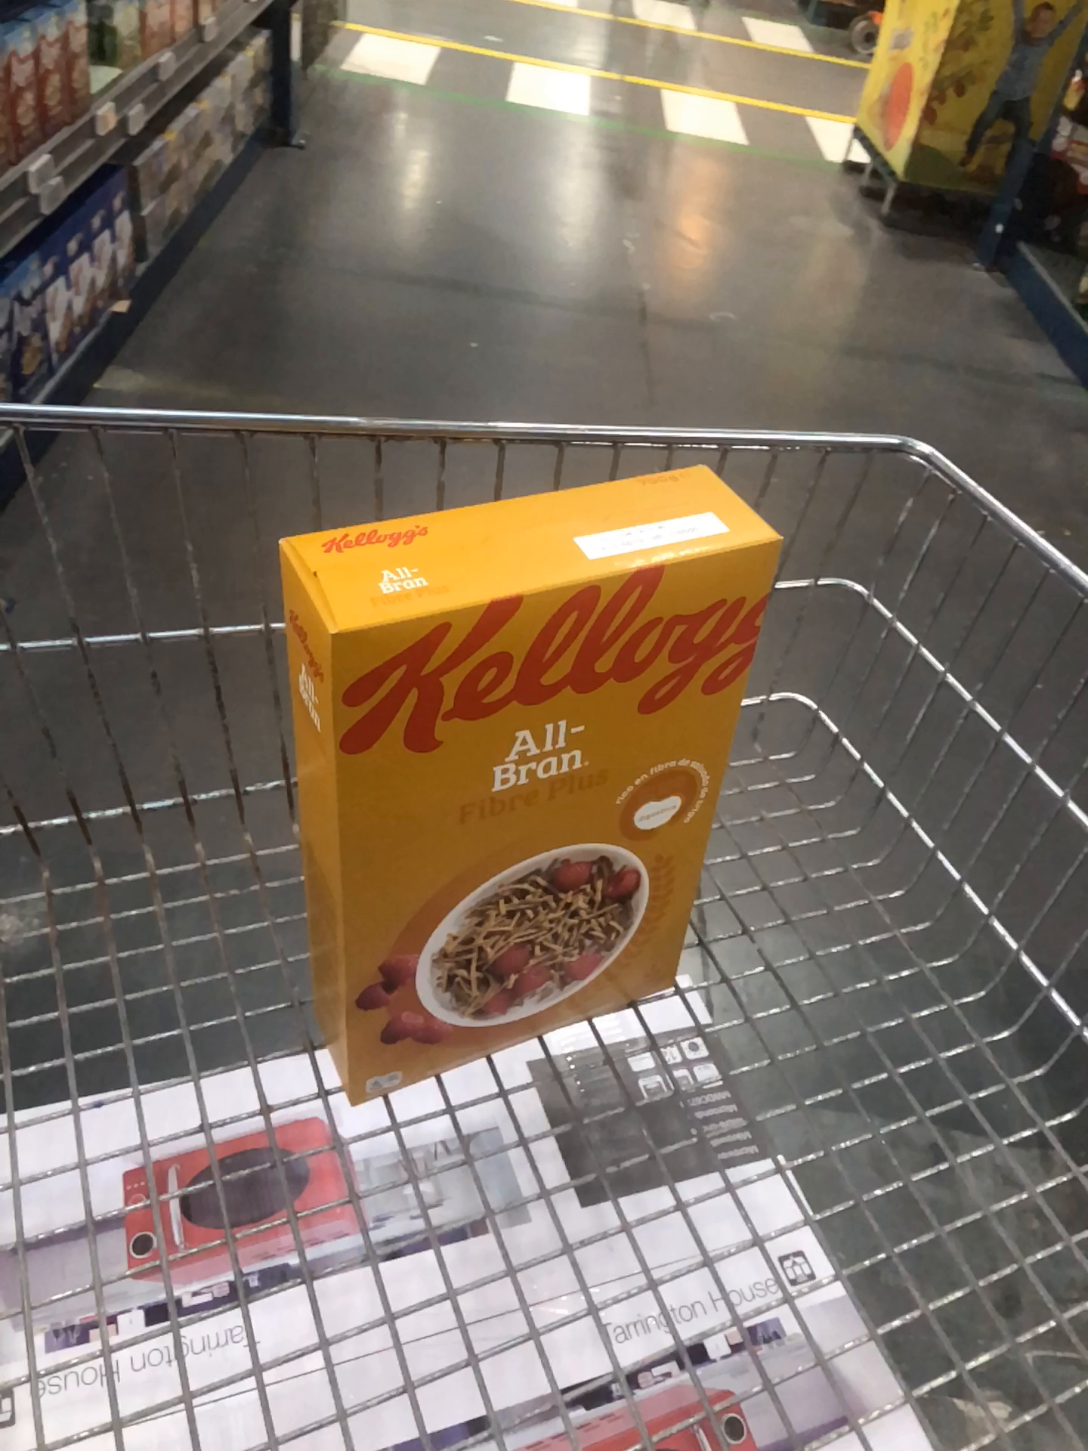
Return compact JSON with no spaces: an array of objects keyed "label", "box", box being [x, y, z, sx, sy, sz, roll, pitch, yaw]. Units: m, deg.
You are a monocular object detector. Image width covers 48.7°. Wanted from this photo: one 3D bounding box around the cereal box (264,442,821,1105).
[{"label":"cereal box","box":[-0.008,0.032,0.550,0.200,0.289,0.070,-15,46,-22]}]
